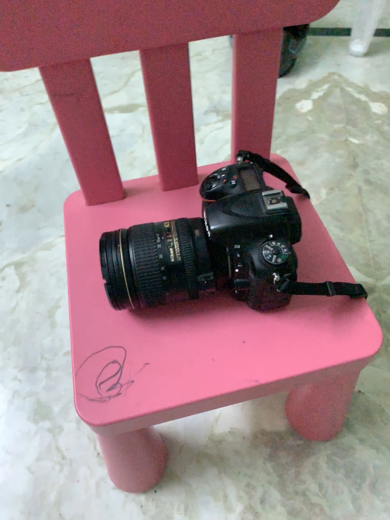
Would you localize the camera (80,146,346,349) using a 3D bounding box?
[{"bbox_3d":[0.008,-0.015,0.389,0.210,0.080,0.140,-11,57,-5],"label":"camera"}]
